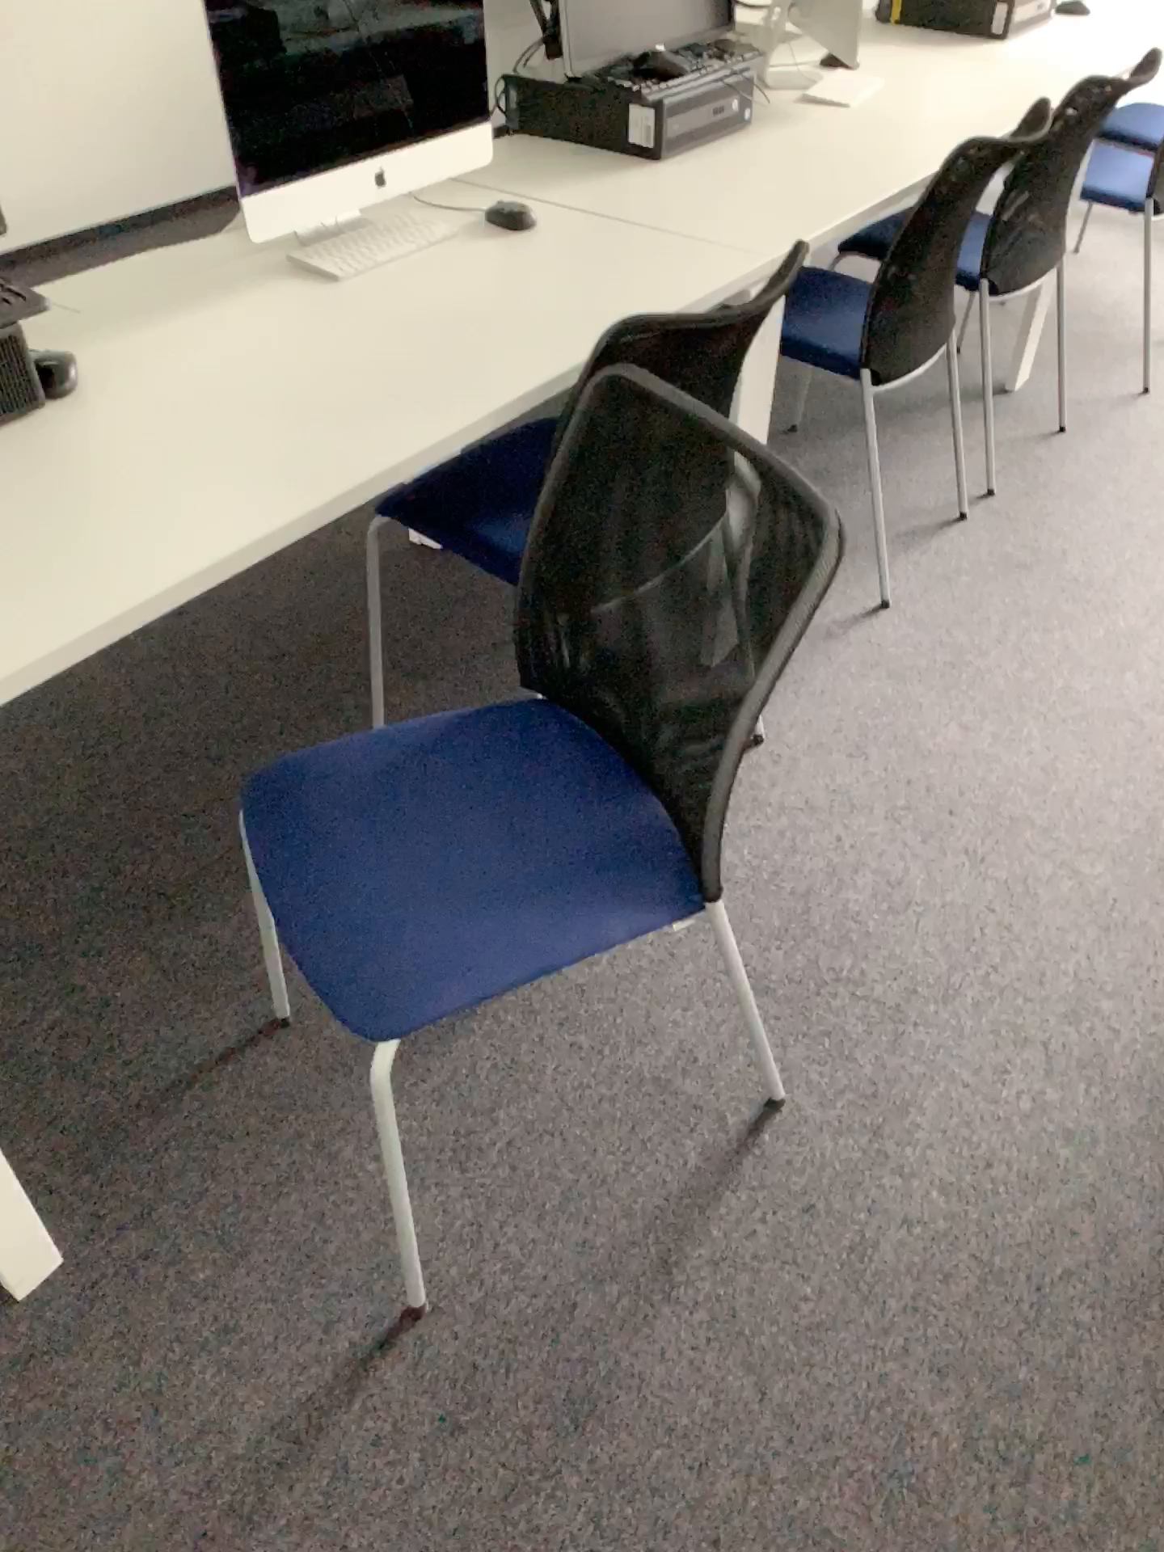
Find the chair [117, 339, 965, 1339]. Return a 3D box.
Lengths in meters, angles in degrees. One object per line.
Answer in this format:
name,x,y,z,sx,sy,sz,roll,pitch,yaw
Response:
chair,-0.067,0.077,1.393,0.601,0.895,0.542,-20,46,-23
